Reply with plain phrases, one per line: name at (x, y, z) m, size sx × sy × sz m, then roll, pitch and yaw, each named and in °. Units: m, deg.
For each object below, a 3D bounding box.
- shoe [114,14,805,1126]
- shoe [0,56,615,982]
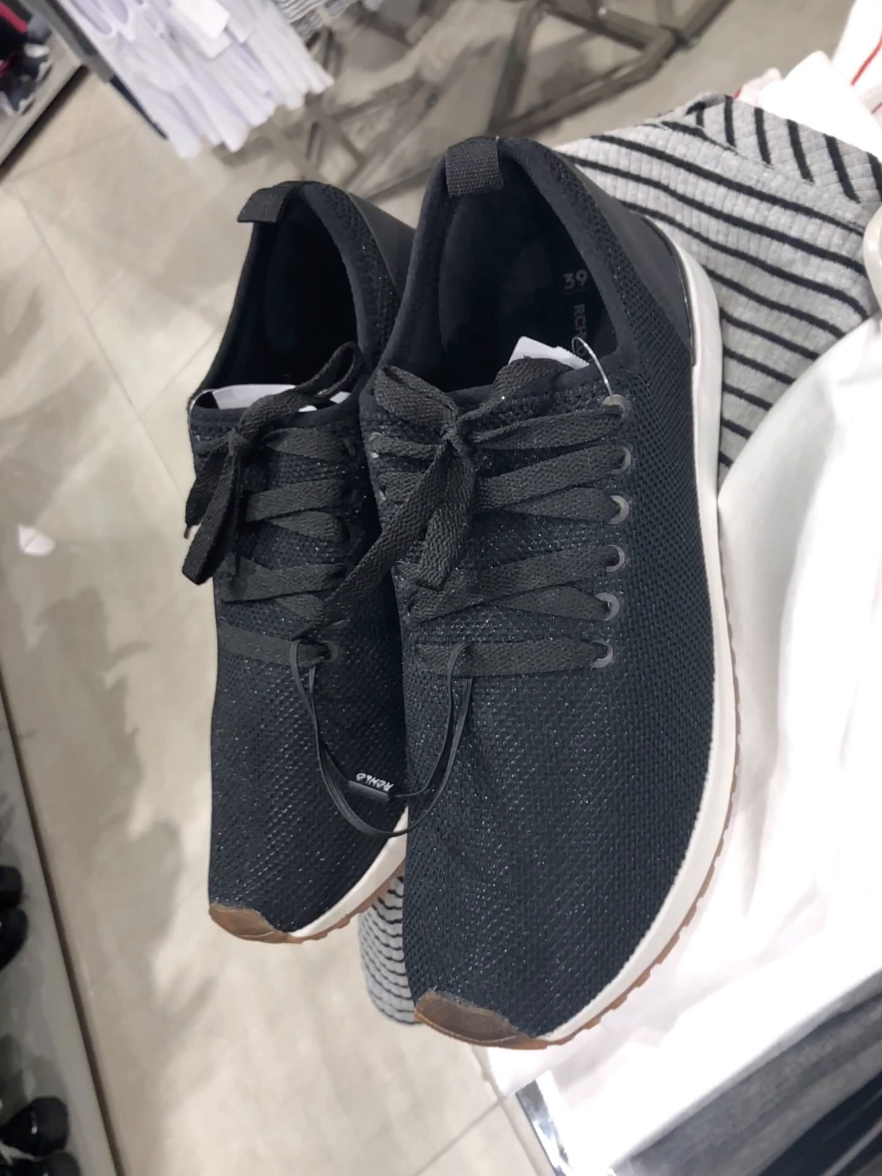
shoe at (0.028, -0.007, 0.290) m, size 0.100 × 0.119 × 0.270 m, roll -3°, pitch 63°, yaw 36°
shoe at (-0.038, -0.017, 0.336) m, size 0.100 × 0.119 × 0.260 m, roll 4°, pitch 74°, yaw 39°
